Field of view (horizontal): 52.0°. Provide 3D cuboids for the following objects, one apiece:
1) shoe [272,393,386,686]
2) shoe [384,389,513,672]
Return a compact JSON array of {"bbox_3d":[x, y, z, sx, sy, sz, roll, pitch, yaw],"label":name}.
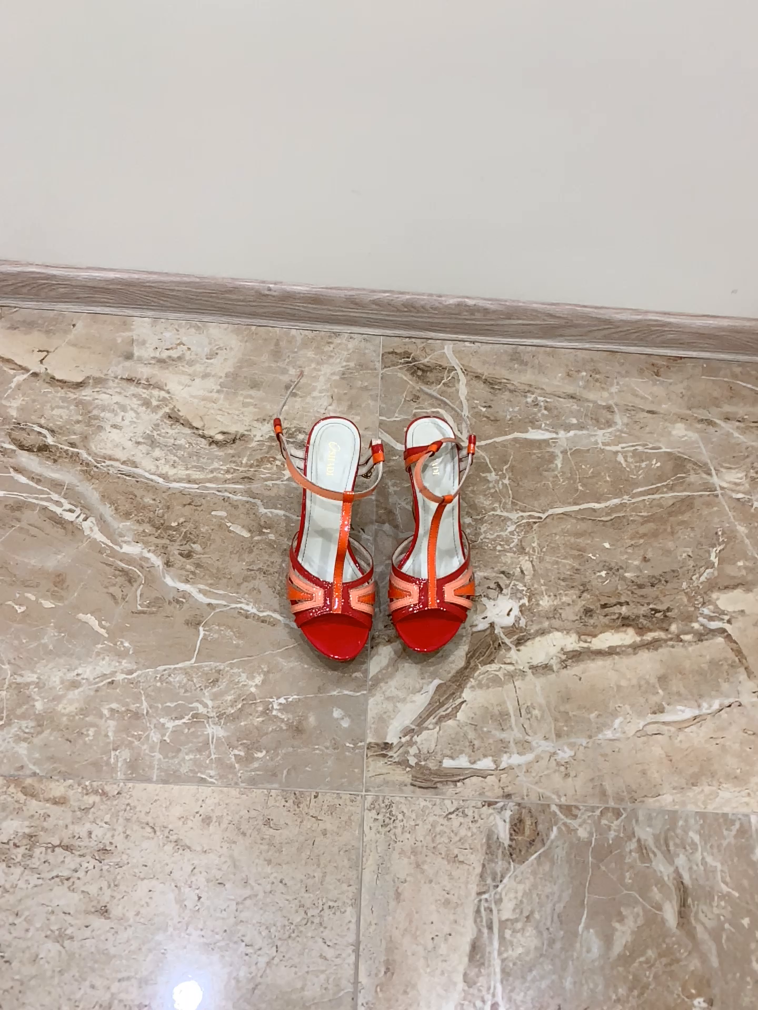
[{"bbox_3d":[-0.045,0.029,0.690,0.083,0.139,0.218,1,53,-4],"label":"shoe"},{"bbox_3d":[0.053,0.021,0.700,0.080,0.129,0.218,1,53,-4],"label":"shoe"}]
